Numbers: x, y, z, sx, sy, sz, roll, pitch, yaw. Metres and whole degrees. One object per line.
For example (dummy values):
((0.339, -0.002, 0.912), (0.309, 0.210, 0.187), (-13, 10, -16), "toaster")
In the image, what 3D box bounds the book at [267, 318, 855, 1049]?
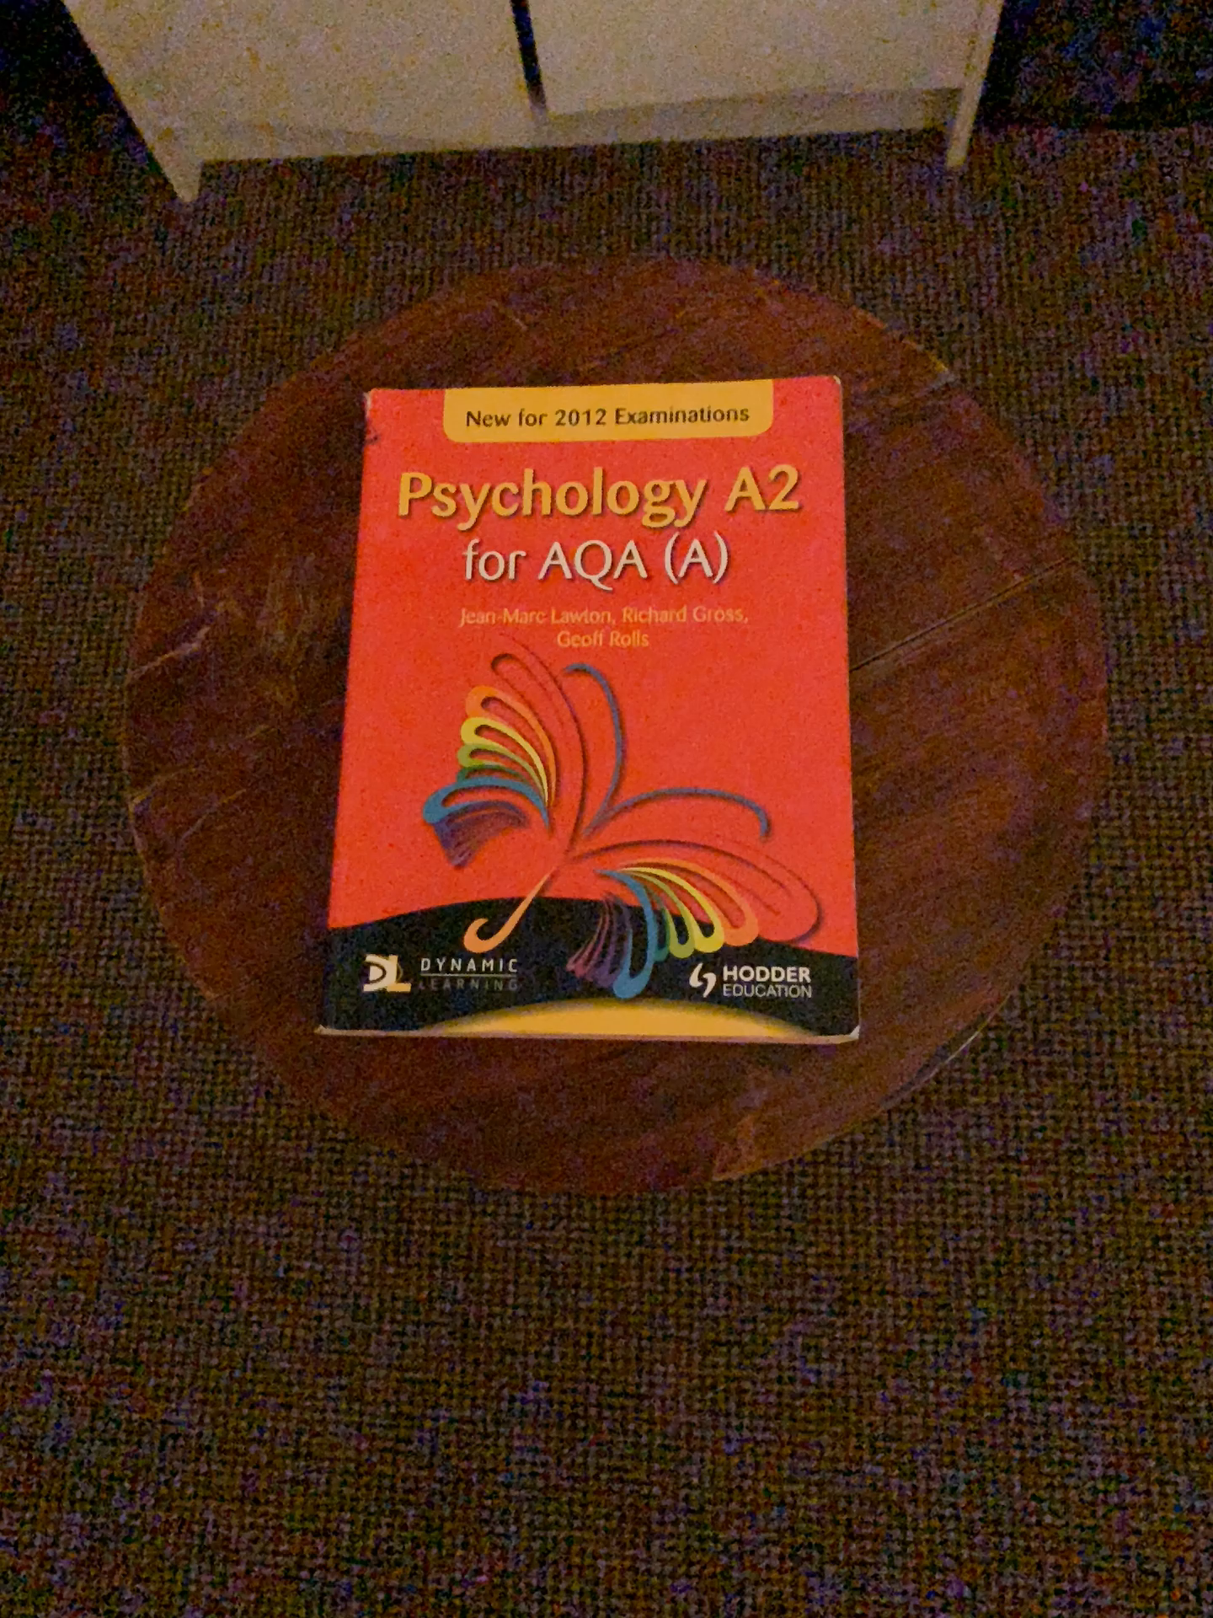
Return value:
((-0.013, -0.055, 0.497), (0.210, 0.040, 0.291), (0, 74, 6), "book")
